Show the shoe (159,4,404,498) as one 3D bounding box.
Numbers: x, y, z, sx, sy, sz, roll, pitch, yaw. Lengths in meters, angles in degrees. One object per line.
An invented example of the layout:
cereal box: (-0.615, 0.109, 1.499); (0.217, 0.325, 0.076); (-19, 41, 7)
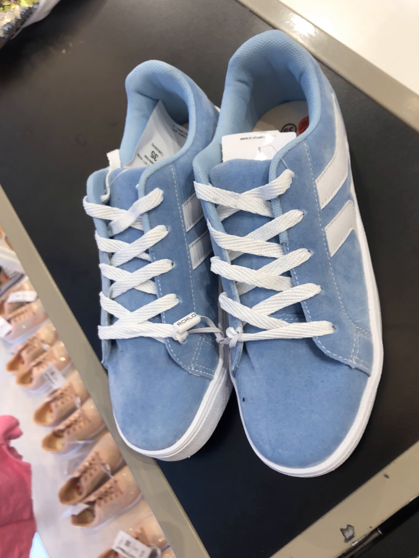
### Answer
shoe: (0.049, -0.010, 0.286); (0.100, 0.120, 0.240); (-7, 71, 24)

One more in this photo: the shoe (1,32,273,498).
shoe: (-0.029, -0.004, 0.303); (0.100, 0.120, 0.240); (-4, 73, 25)
